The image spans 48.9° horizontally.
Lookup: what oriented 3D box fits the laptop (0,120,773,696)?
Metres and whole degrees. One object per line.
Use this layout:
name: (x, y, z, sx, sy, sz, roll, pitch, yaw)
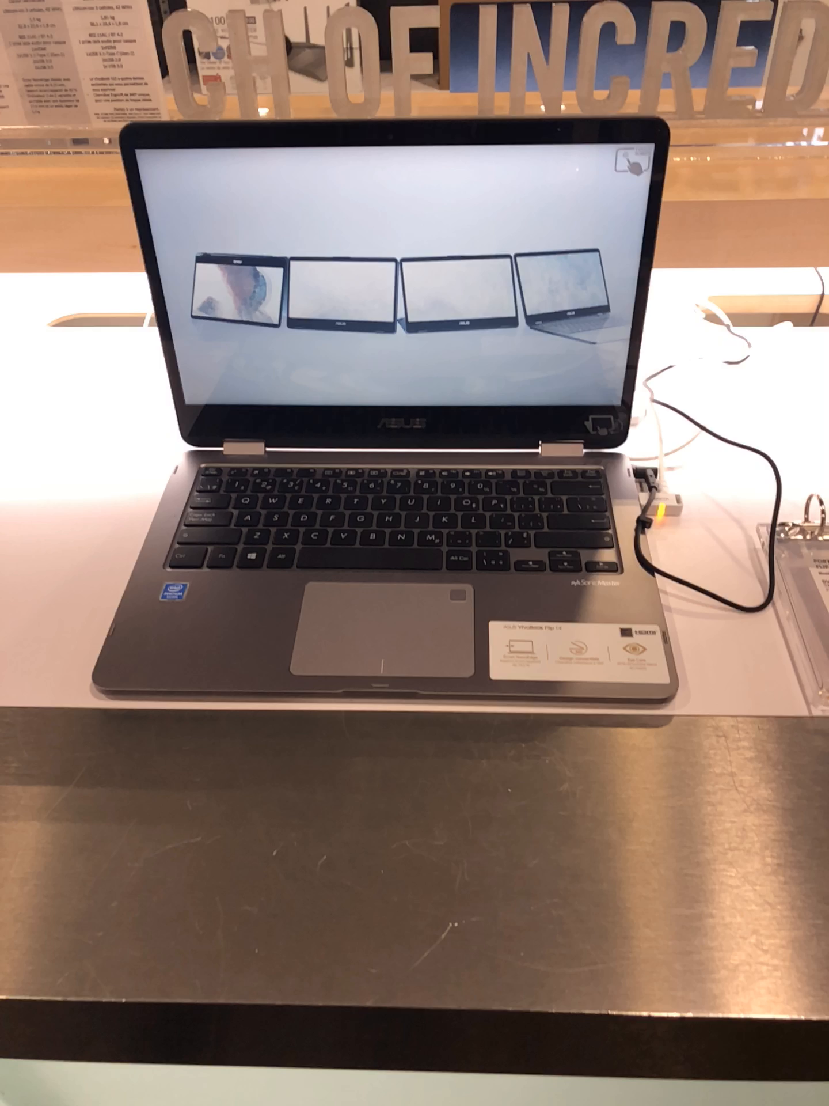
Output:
laptop: (-0.017, -0.079, 0.479, 0.303, 0.211, 0.211, 1, 43, 3)
